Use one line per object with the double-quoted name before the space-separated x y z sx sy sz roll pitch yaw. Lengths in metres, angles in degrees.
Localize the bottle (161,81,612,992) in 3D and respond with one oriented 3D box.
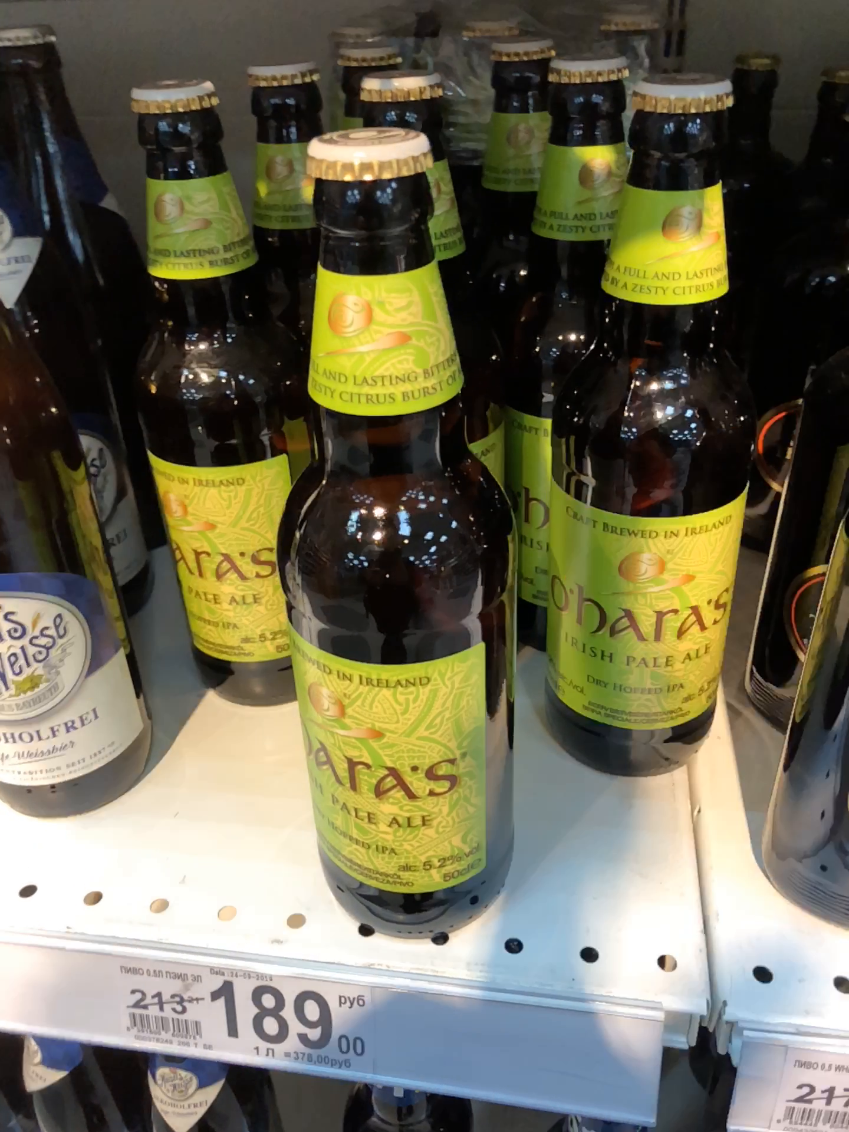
"bottle" -0.004 0.004 0.273 0.070 0.250 0.070 -2 33 1
